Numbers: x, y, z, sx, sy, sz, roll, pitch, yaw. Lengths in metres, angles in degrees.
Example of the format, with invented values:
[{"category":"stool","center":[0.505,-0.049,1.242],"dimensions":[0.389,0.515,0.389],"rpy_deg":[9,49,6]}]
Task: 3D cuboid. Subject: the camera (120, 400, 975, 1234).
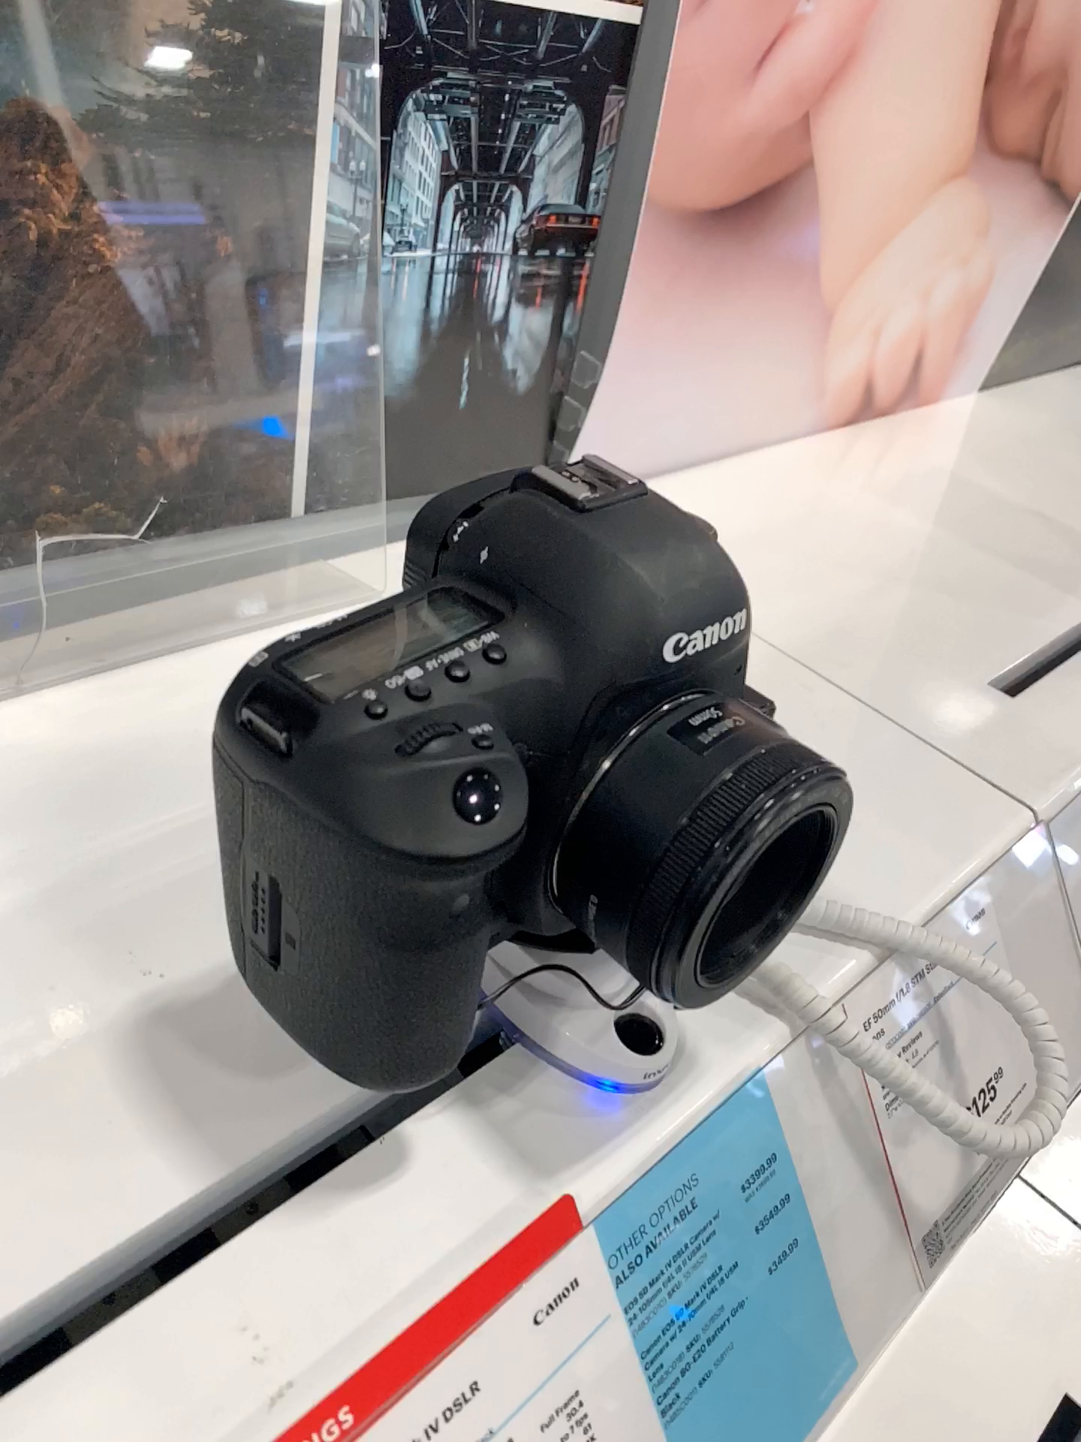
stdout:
[{"category":"camera","center":[-0.002,0.007,0.260],"dimensions":[0.140,0.106,0.112],"rpy_deg":[-23,49,-39]}]
